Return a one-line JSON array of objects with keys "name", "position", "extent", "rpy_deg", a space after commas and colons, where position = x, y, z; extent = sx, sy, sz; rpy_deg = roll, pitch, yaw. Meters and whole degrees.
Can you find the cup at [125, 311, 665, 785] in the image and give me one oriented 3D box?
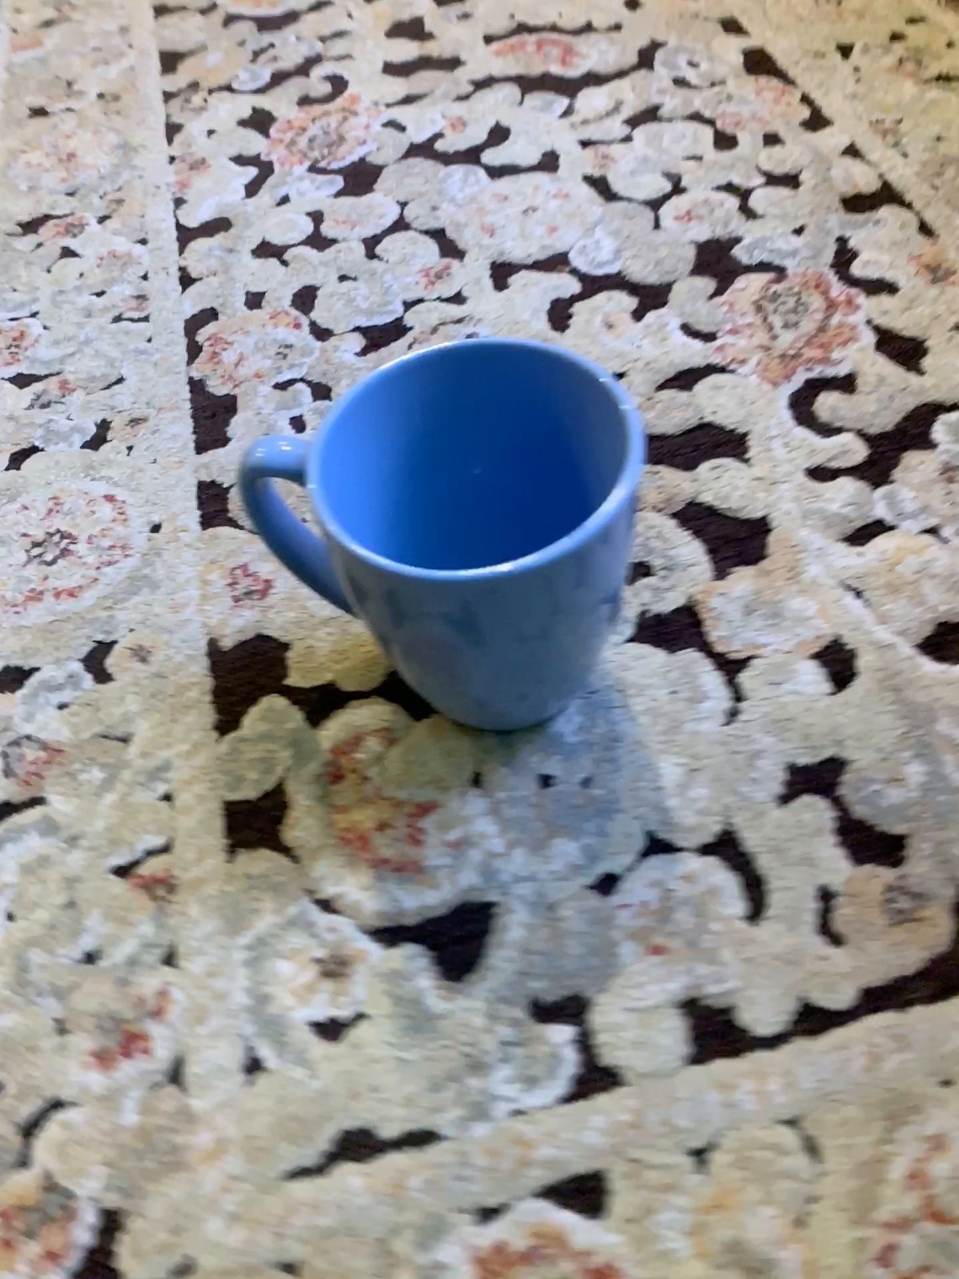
[{"name": "cup", "position": [-0.014, -0.027, 0.286], "extent": [0.120, 0.089, 0.091], "rpy_deg": [6, 55, 10]}]
